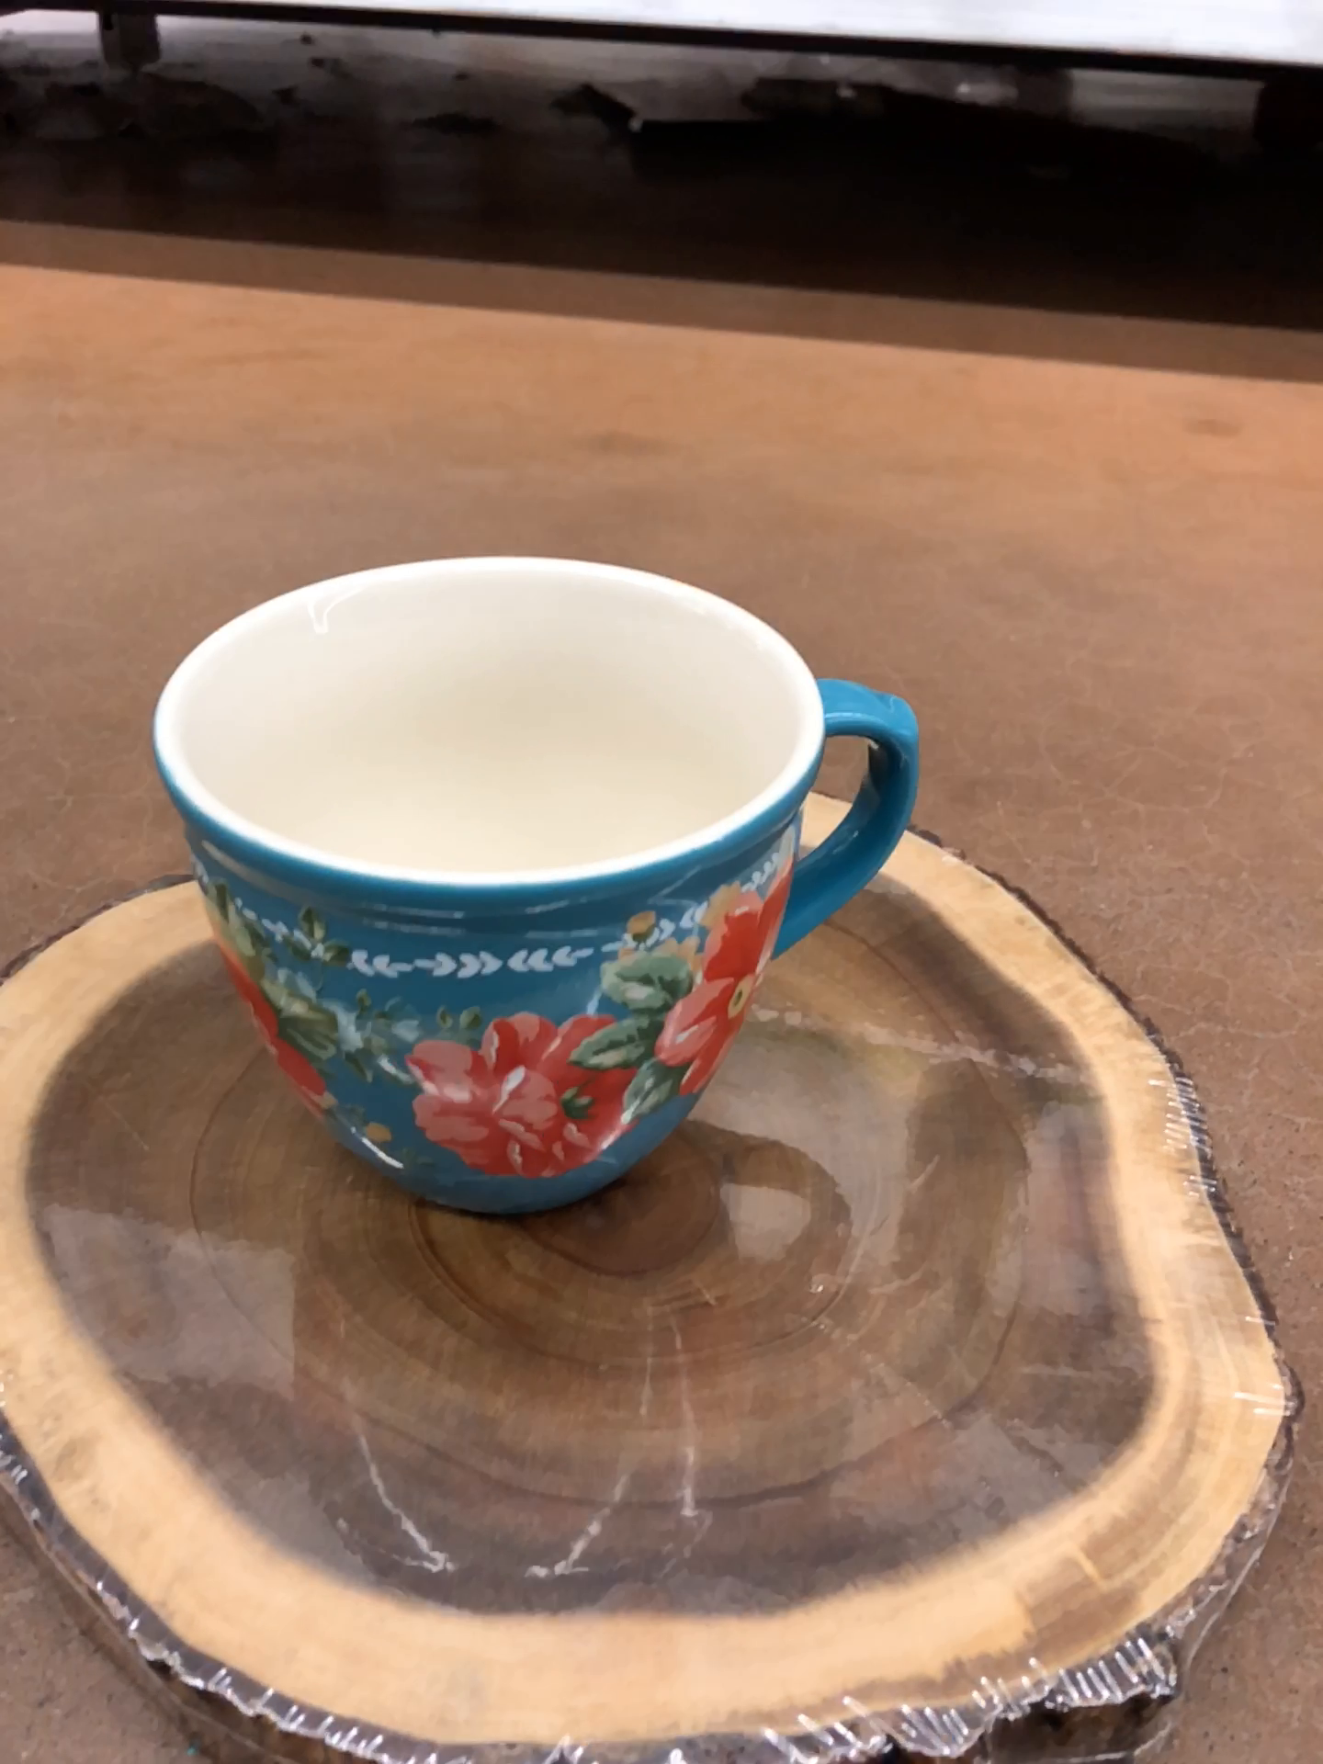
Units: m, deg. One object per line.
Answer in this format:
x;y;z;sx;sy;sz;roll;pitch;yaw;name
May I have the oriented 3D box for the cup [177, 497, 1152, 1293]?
-0.008;-0.006;0.254;0.130;0.080;0.100;-6;37;-11;cup
